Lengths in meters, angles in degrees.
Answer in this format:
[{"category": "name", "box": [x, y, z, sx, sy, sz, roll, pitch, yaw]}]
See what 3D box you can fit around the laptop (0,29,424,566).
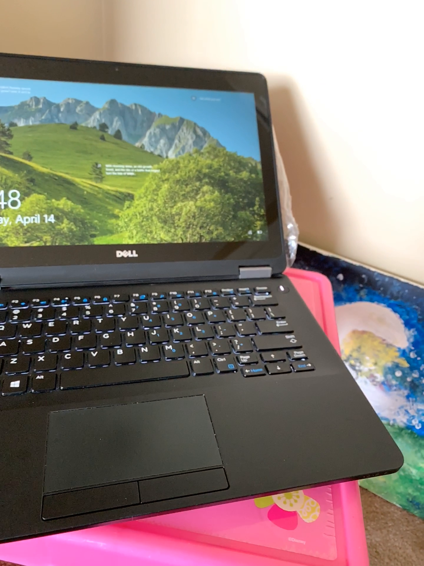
[{"category": "laptop", "box": [-0.051, -0.043, 0.282, 0.261, 0.121, 0.302, -3, 41, -16]}]
